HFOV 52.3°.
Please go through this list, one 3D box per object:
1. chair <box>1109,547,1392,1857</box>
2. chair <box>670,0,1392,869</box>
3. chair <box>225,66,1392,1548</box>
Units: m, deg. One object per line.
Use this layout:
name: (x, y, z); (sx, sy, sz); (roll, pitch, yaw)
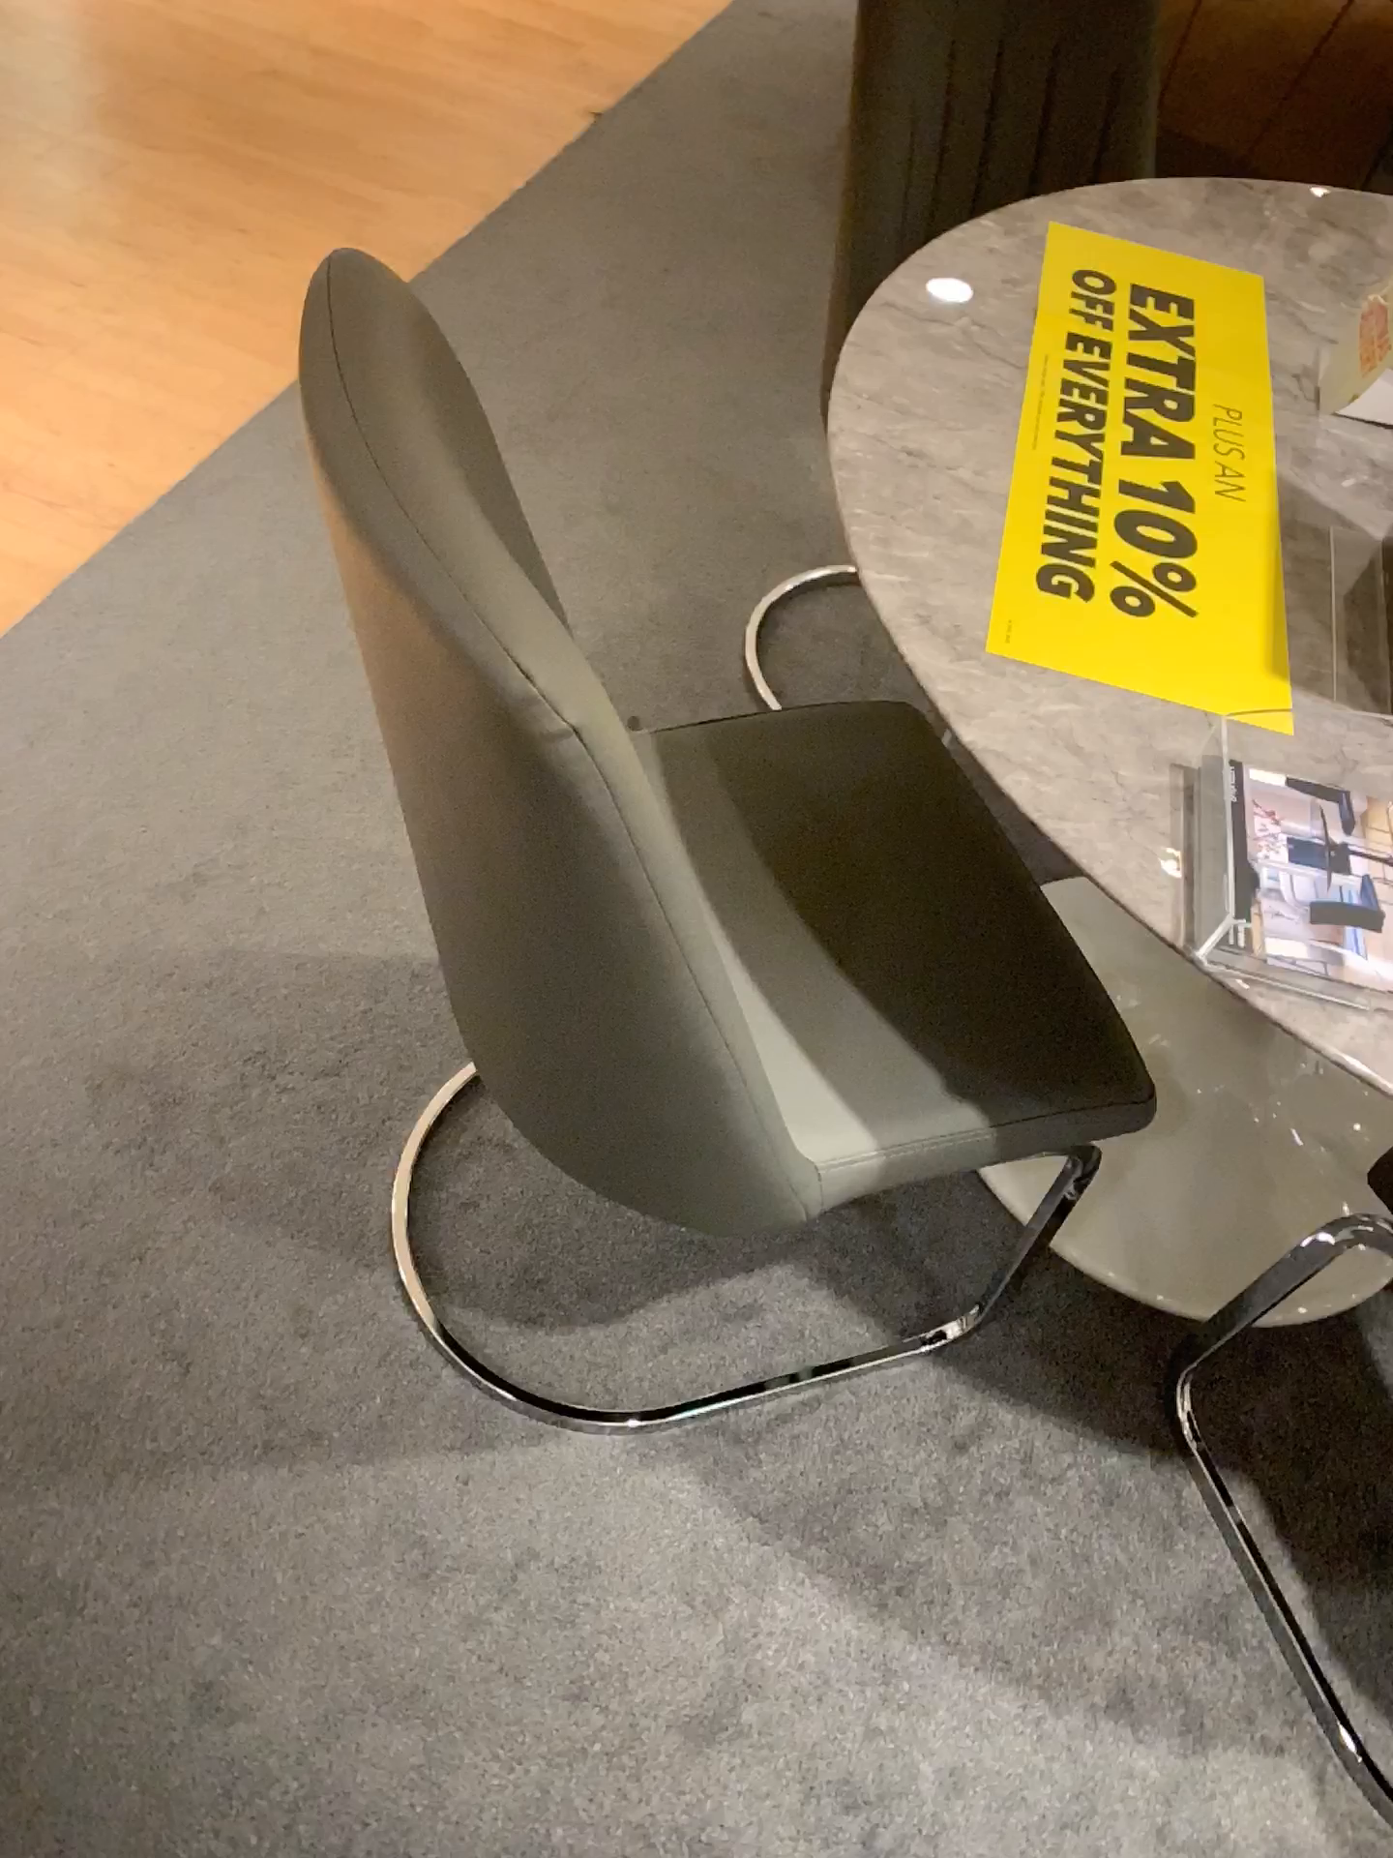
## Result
chair: (0.799, 0.306, 0.943); (0.521, 0.884, 0.582); (-8, 54, -18)
chair: (0.392, -0.630, 1.620); (0.521, 0.884, 0.582); (-17, 57, -23)
chair: (0.052, -0.035, 1.061); (0.629, 0.884, 0.554); (-9, 54, -19)
